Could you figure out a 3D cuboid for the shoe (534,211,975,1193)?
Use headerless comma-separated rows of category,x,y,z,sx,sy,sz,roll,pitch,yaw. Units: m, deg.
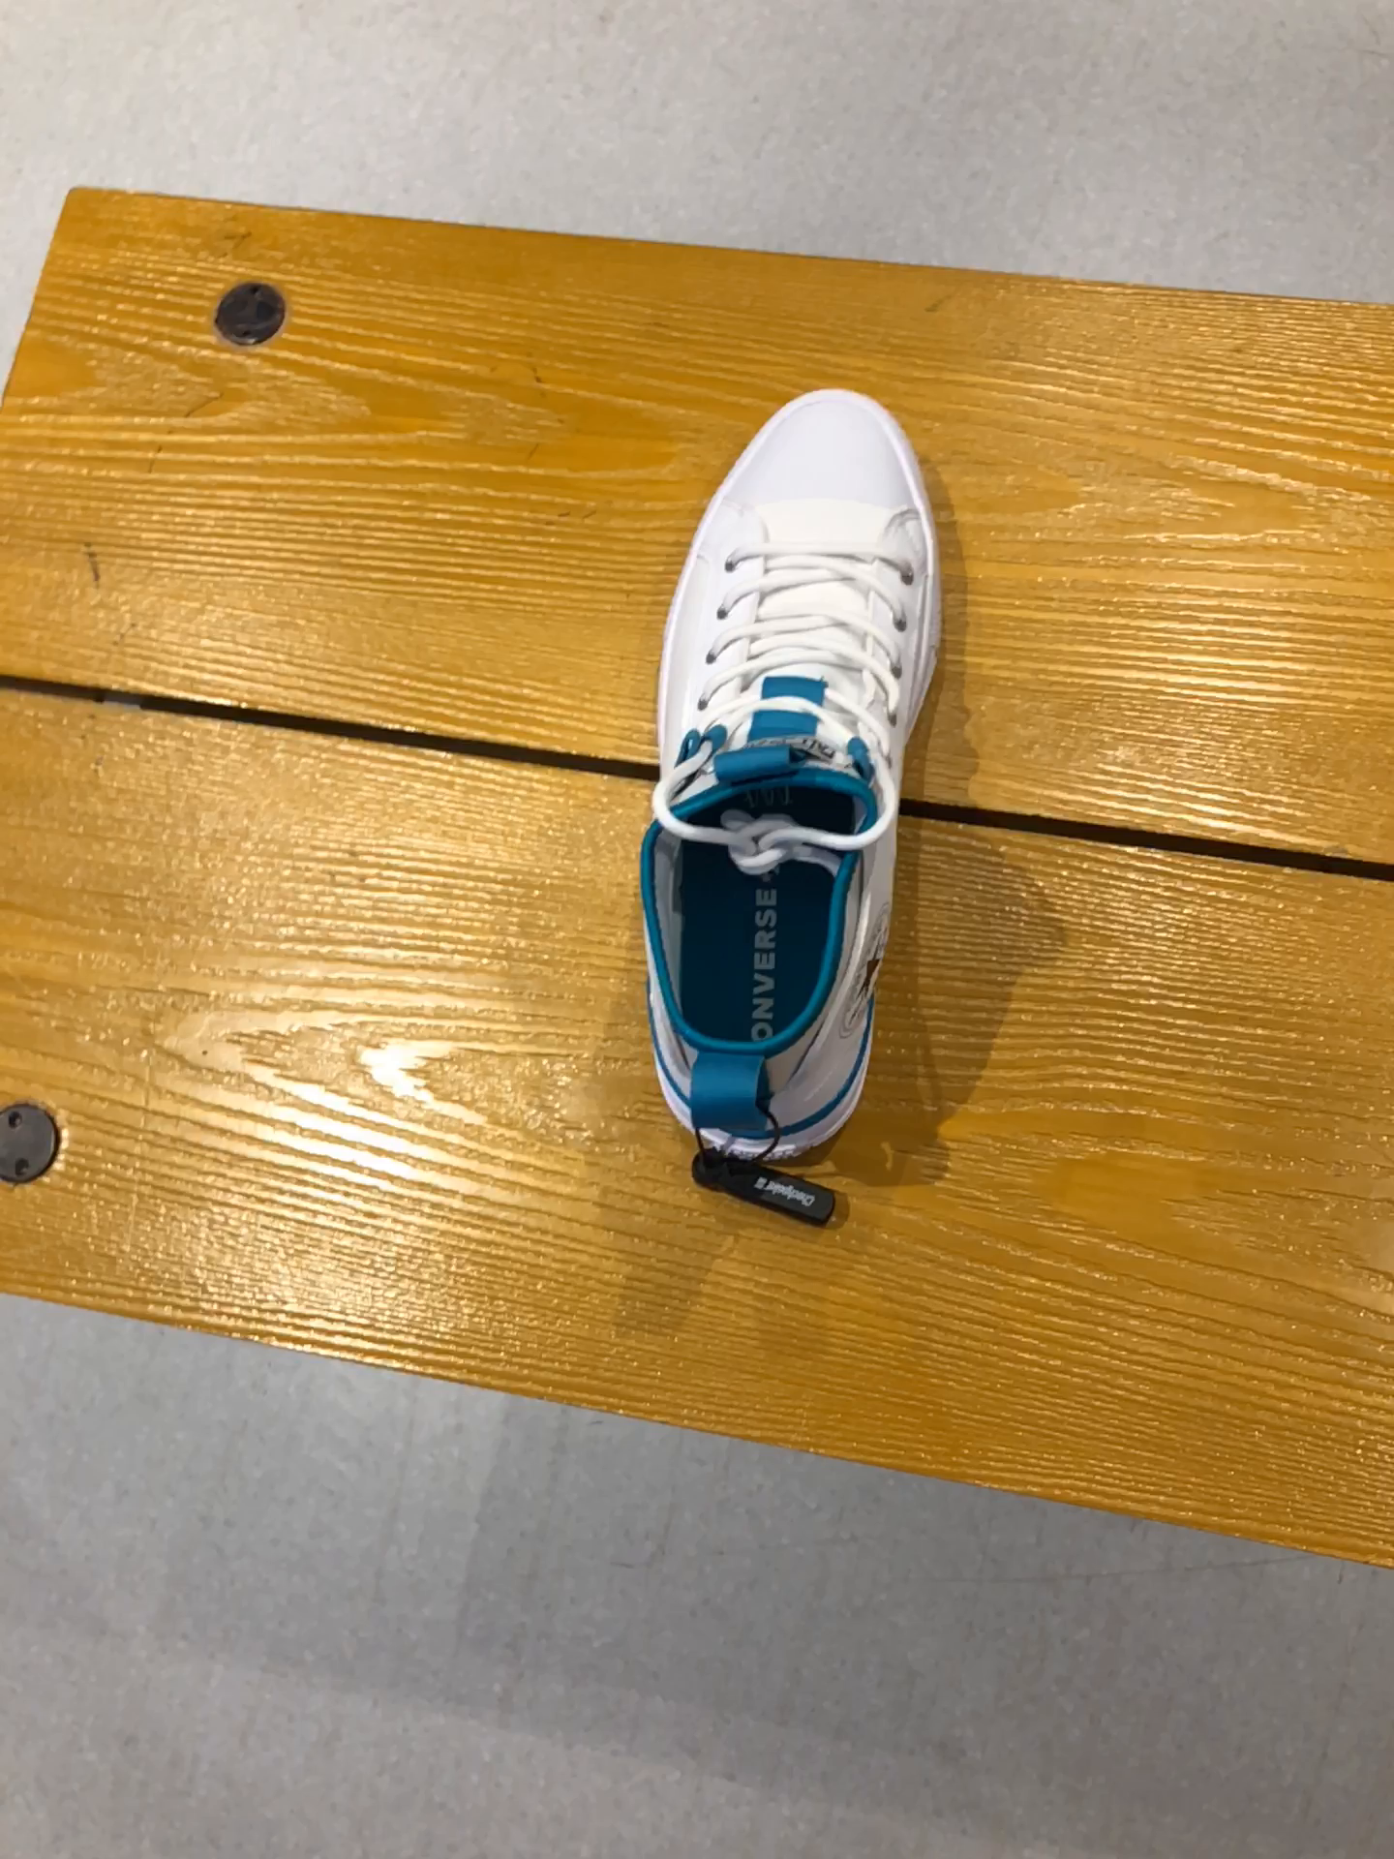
shoe,0.029,-0.066,0.531,0.108,0.158,0.294,3,77,7
